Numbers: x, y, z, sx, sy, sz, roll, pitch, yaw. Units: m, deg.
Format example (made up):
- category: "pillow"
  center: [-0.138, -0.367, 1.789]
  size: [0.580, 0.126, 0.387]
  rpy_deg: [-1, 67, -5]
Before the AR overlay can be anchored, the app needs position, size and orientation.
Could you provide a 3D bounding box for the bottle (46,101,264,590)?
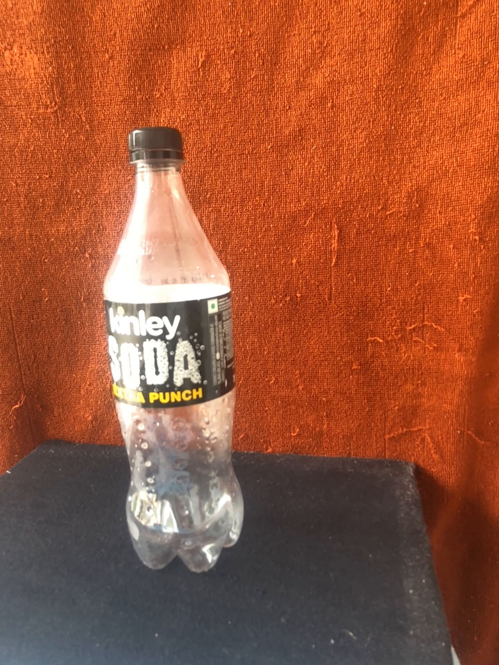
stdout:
- category: "bottle"
  center: [-0.045, 0.010, 0.324]
  size: [0.090, 0.259, 0.070]
  rpy_deg: [3, 15, 15]
